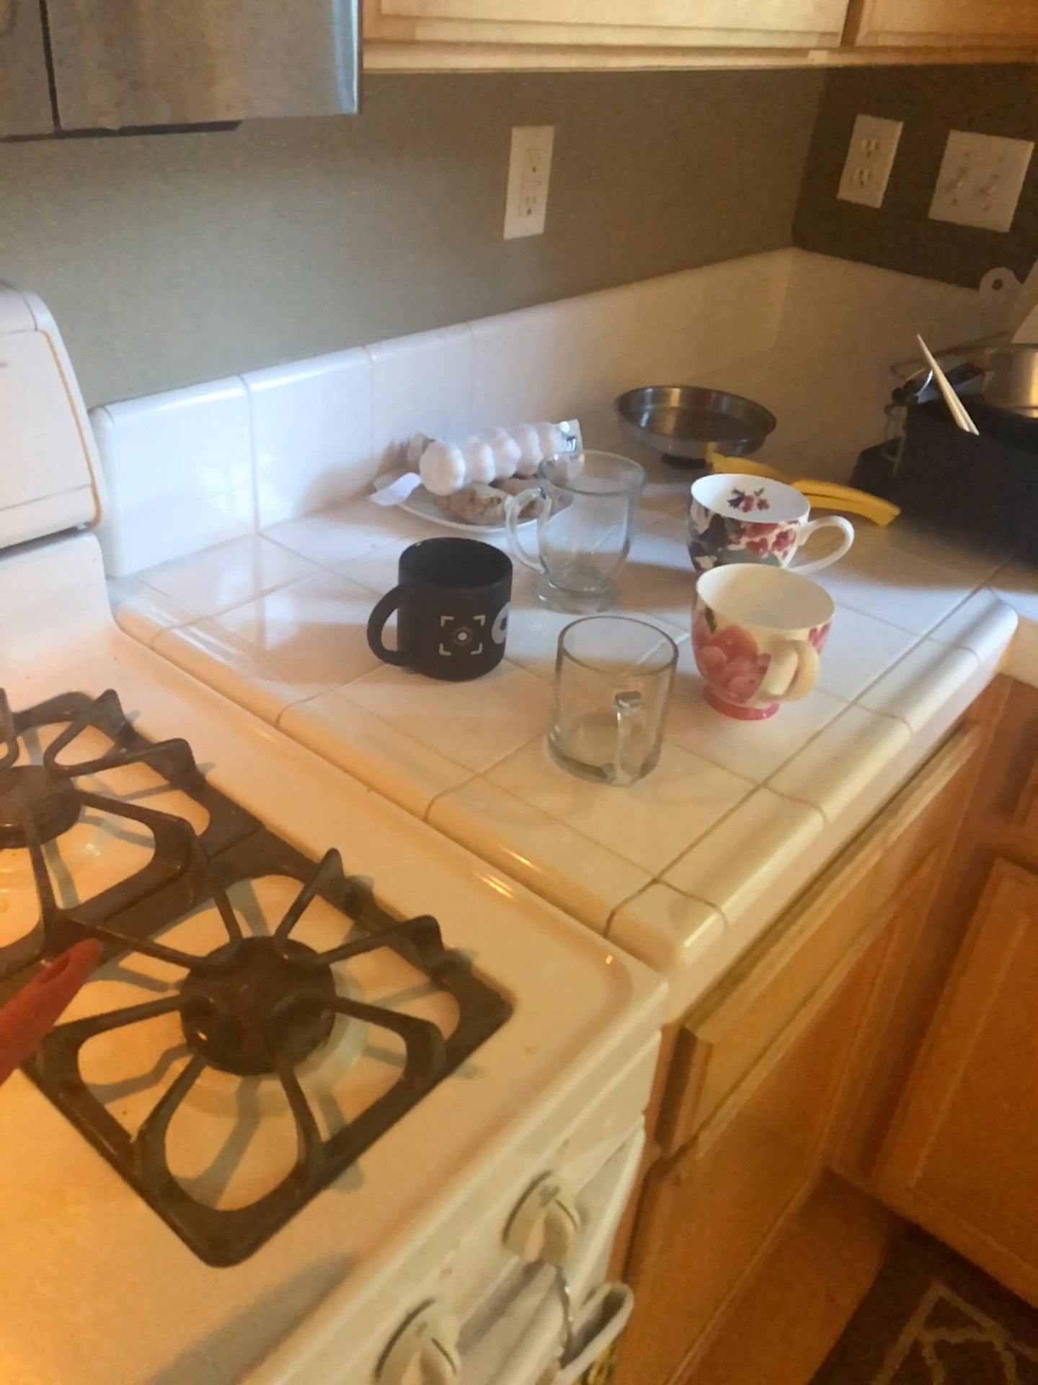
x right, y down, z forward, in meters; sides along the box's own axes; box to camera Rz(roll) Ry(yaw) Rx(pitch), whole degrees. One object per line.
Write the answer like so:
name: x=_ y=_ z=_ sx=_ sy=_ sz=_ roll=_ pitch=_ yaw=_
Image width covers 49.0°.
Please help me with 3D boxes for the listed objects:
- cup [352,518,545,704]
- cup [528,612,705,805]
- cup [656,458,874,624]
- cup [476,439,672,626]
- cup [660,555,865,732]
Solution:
cup: x=-0.051 y=-0.062 z=0.821 sx=0.080 sy=0.079 sz=0.111 roll=31 pitch=41 yaw=33
cup: x=0.064 y=0.008 z=0.798 sx=0.090 sy=0.079 sz=0.121 roll=-1 pitch=34 yaw=-10
cup: x=0.222 y=-0.140 z=1.033 sx=0.160 sy=0.079 sz=0.101 roll=19 pitch=35 yaw=19
cup: x=0.043 y=-0.138 z=0.963 sx=0.120 sy=0.109 sz=0.101 roll=-12 pitch=37 yaw=-26
cup: x=0.171 y=-0.038 z=0.828 sx=0.100 sy=0.069 sz=0.131 roll=0 pitch=34 yaw=-9
